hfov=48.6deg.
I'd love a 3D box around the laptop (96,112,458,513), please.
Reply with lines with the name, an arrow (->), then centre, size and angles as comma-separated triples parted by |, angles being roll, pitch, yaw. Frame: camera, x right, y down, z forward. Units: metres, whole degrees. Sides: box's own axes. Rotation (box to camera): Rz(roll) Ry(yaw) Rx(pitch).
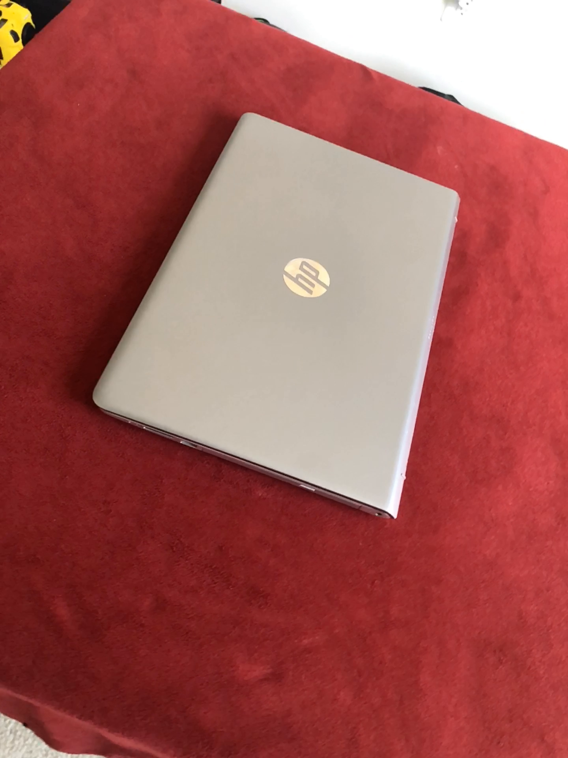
laptop -> 0.022, -0.090, 0.569 | 0.233, 0.006, 0.373 | 20, 59, -1
